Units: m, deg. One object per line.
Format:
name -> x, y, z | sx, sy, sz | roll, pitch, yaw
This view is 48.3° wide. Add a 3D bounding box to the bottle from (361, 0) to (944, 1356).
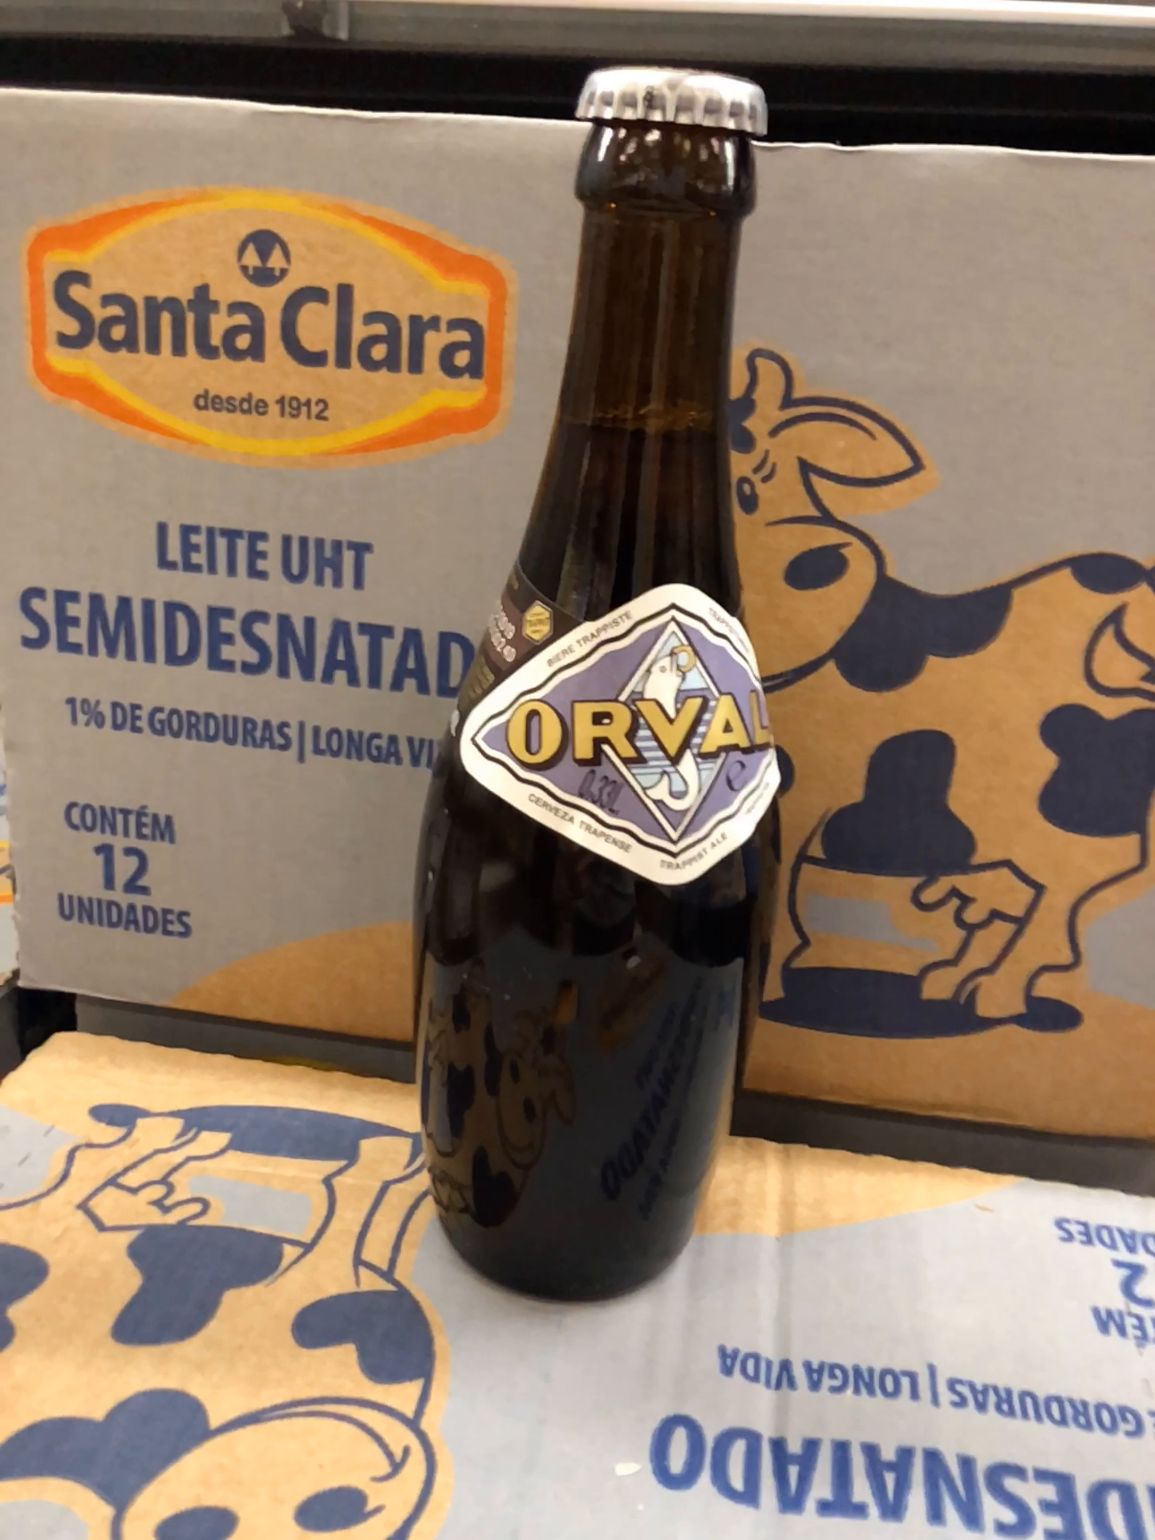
bottle -> 0.003, -0.010, 0.230 | 0.070, 0.209, 0.060 | -4, 20, -21
